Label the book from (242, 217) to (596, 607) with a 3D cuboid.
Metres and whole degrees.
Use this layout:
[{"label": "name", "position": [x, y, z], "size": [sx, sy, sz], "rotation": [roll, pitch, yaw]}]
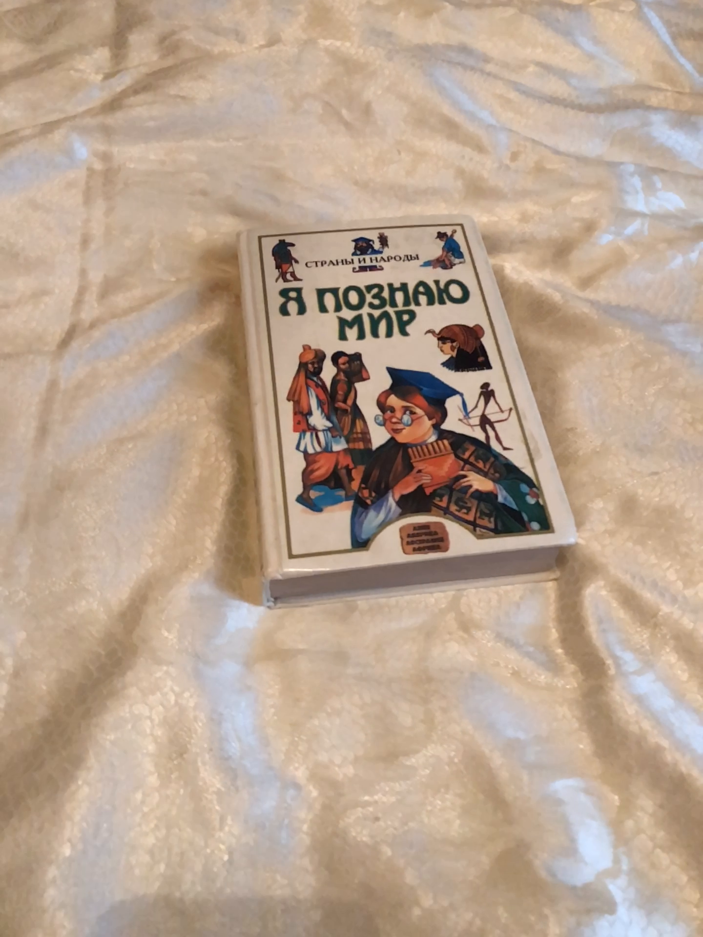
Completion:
[{"label": "book", "position": [0.020, -0.039, 0.378], "size": [0.134, 0.037, 0.198], "rotation": [-5, 58, -6]}]
